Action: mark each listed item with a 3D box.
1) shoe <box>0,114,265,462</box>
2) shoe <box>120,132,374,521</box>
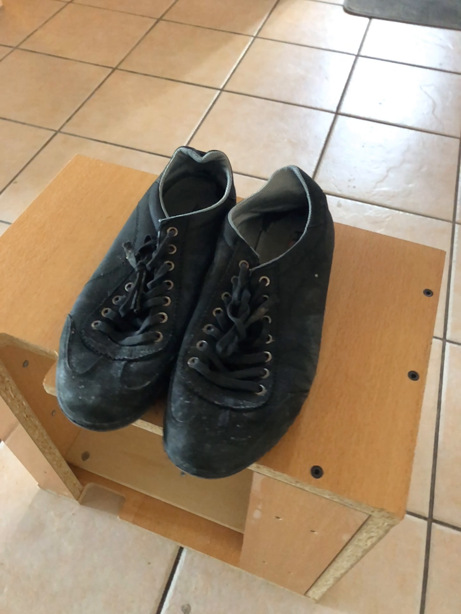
[{"bbox_3d":[-0.065,-0.037,0.445,0.110,0.089,0.302,15,54,9],"label":"shoe"},{"bbox_3d":[0.032,-0.009,0.420,0.110,0.089,0.312,15,54,9],"label":"shoe"}]
